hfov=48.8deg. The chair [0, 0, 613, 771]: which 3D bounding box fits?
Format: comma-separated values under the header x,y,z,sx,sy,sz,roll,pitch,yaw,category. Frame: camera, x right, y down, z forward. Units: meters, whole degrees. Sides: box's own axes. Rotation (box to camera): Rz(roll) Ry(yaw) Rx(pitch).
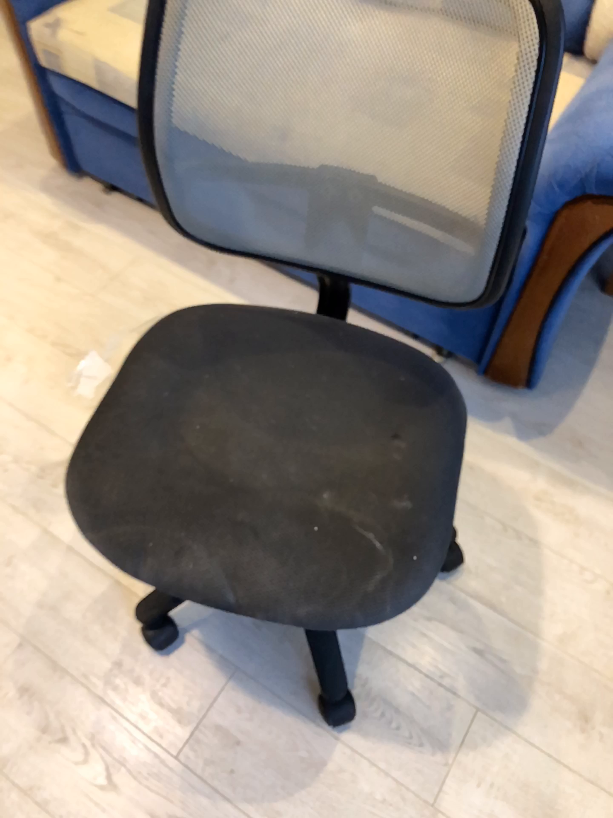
x,y,z,sx,sy,sz,roll,pitch,yaw,category
-0.060,-0.037,0.762,0.660,0.736,0.513,17,58,11,chair
